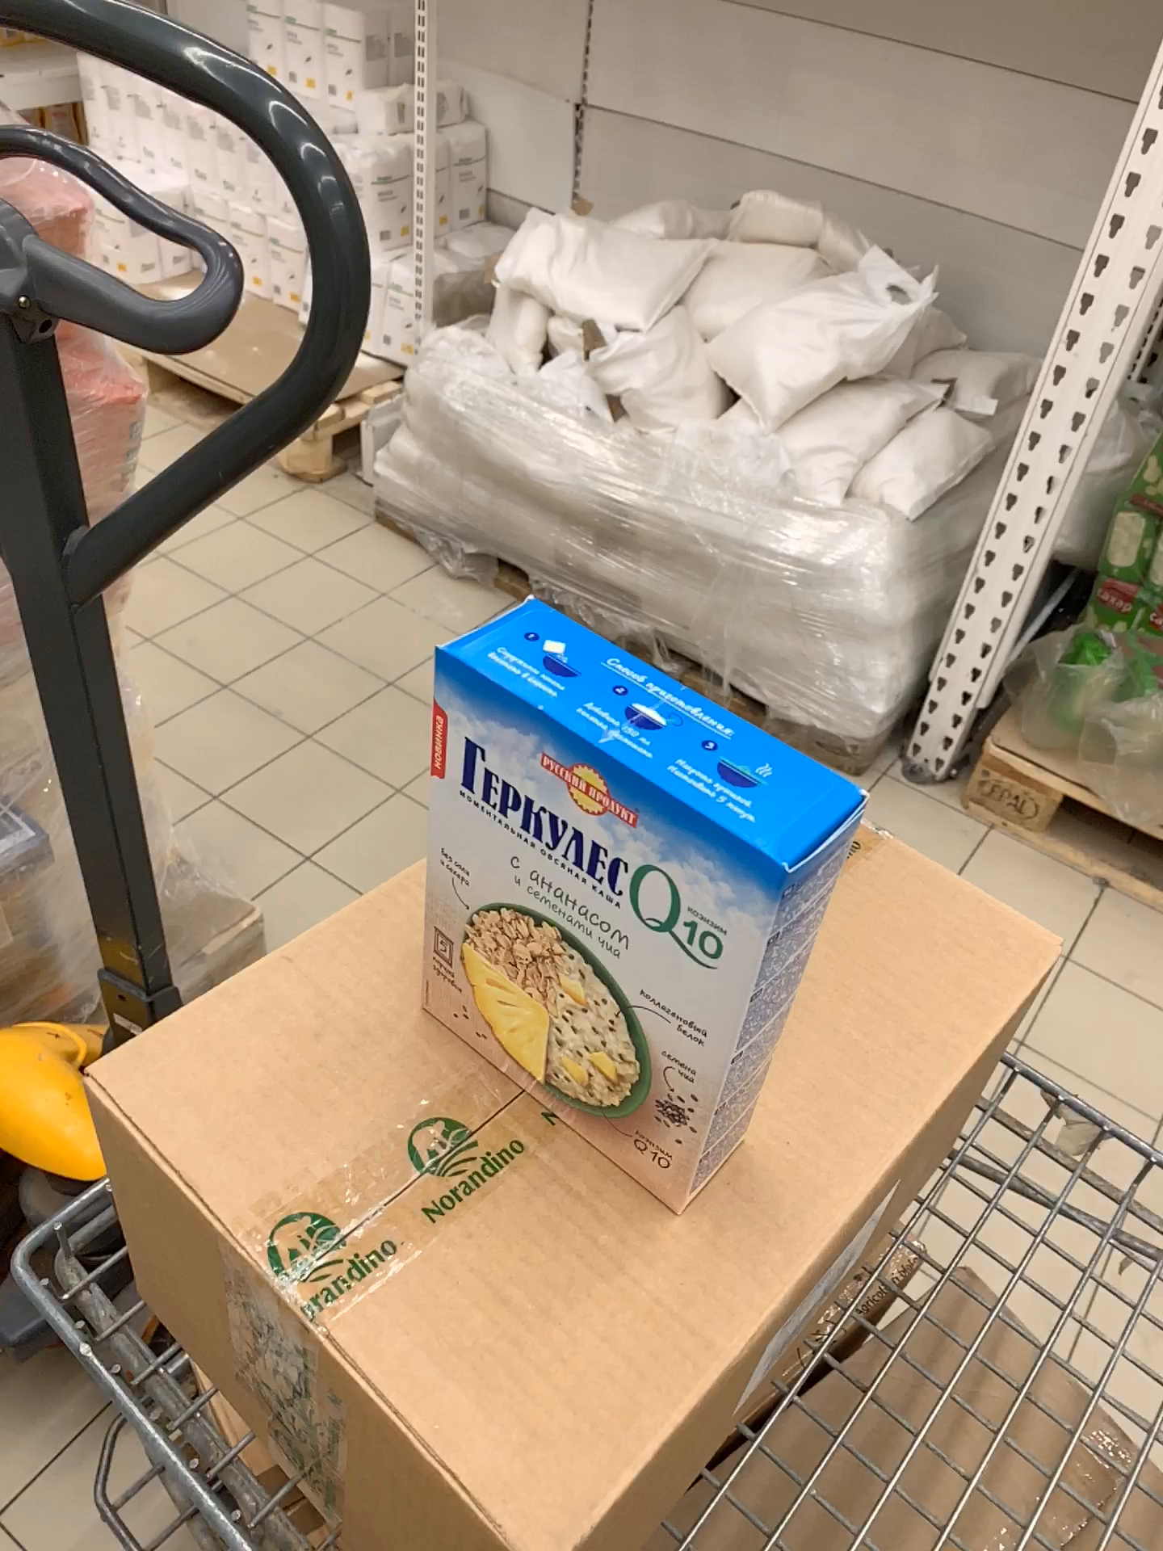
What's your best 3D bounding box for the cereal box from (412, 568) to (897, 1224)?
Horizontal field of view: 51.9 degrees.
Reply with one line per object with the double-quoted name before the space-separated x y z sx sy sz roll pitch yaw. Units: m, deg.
"cereal box" 0.010 0.049 0.438 0.150 0.199 0.050 32 47 25
